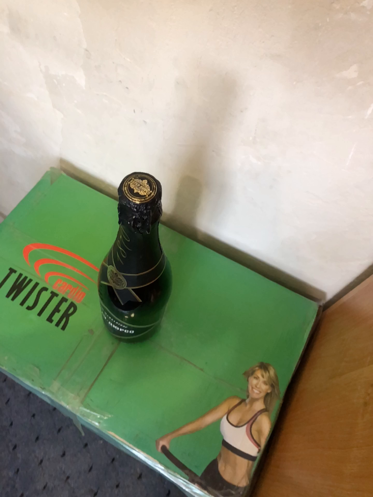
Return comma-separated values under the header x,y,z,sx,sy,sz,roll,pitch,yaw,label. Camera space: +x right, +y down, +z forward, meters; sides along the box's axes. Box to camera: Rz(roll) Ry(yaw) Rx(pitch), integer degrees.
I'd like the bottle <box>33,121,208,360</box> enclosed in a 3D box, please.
x,y,z,sx,sy,sz,roll,pitch,yaw,label
-0.060,0.022,0.434,0.090,0.300,0.090,2,63,-4,bottle
